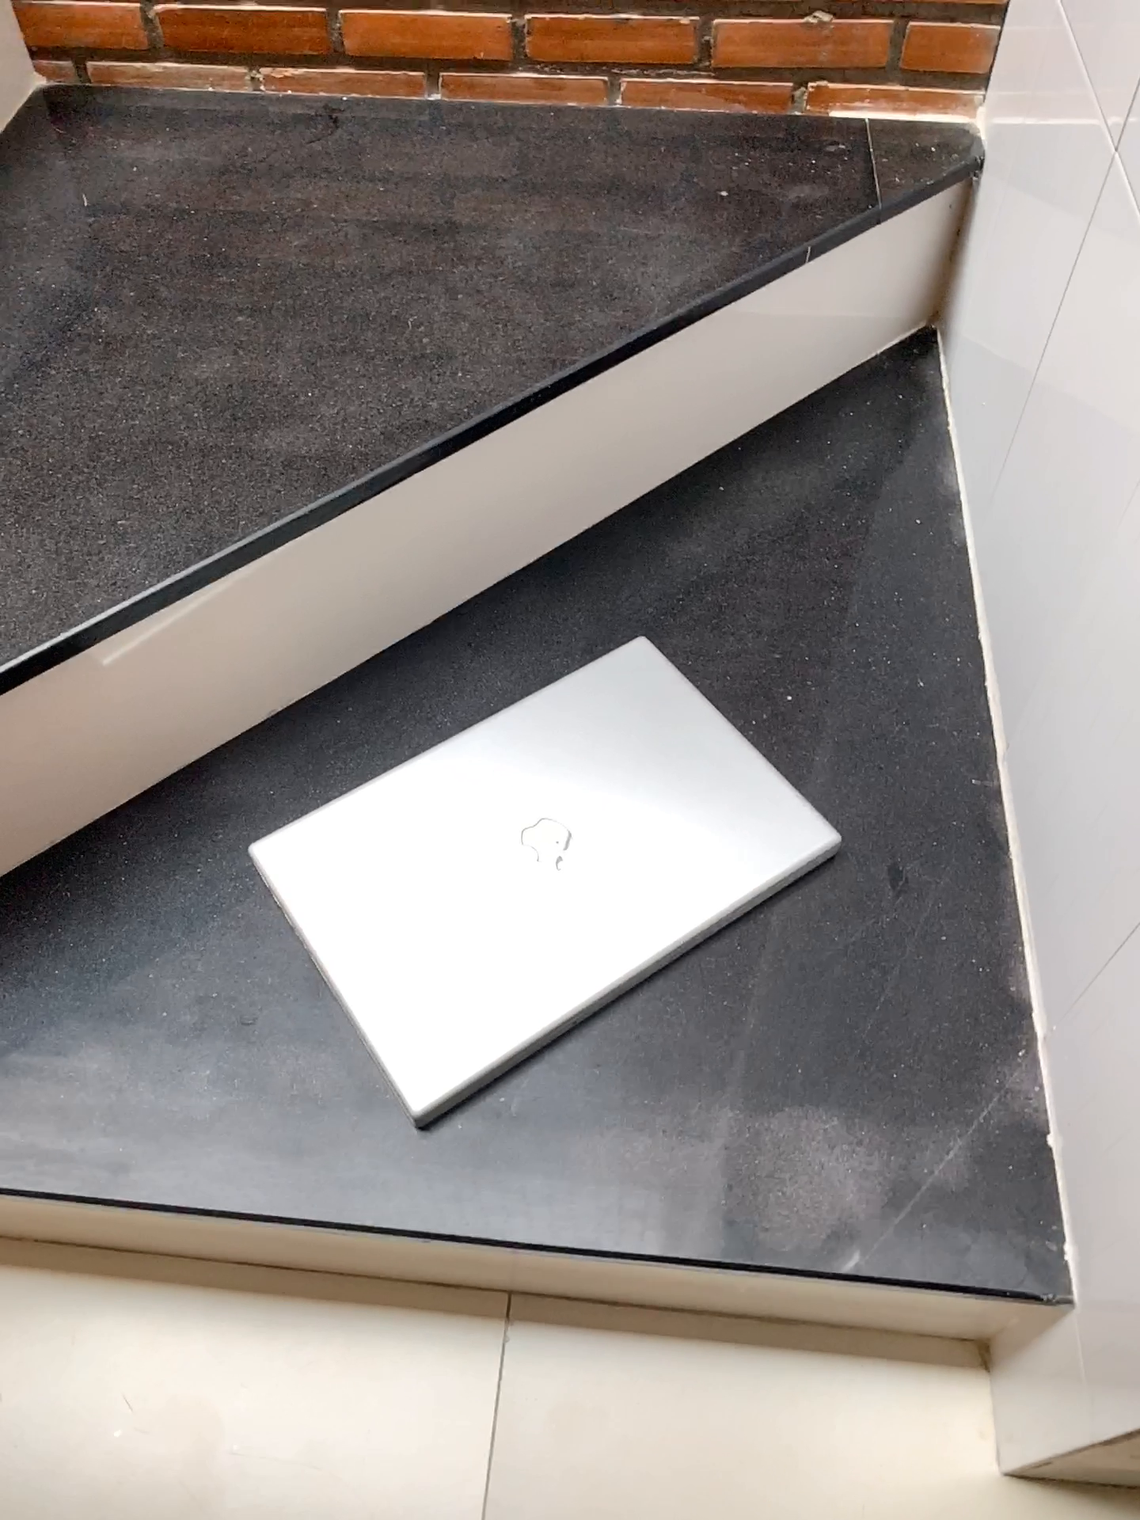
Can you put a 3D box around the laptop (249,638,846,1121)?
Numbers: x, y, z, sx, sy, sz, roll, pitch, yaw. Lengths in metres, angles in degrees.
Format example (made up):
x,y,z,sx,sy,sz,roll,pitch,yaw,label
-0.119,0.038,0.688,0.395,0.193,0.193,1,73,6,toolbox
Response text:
x,y,z,sx,sy,sz,roll,pitch,yaw,label
-0.018,0.080,1.048,0.440,0.013,0.292,-30,62,-20,laptop
